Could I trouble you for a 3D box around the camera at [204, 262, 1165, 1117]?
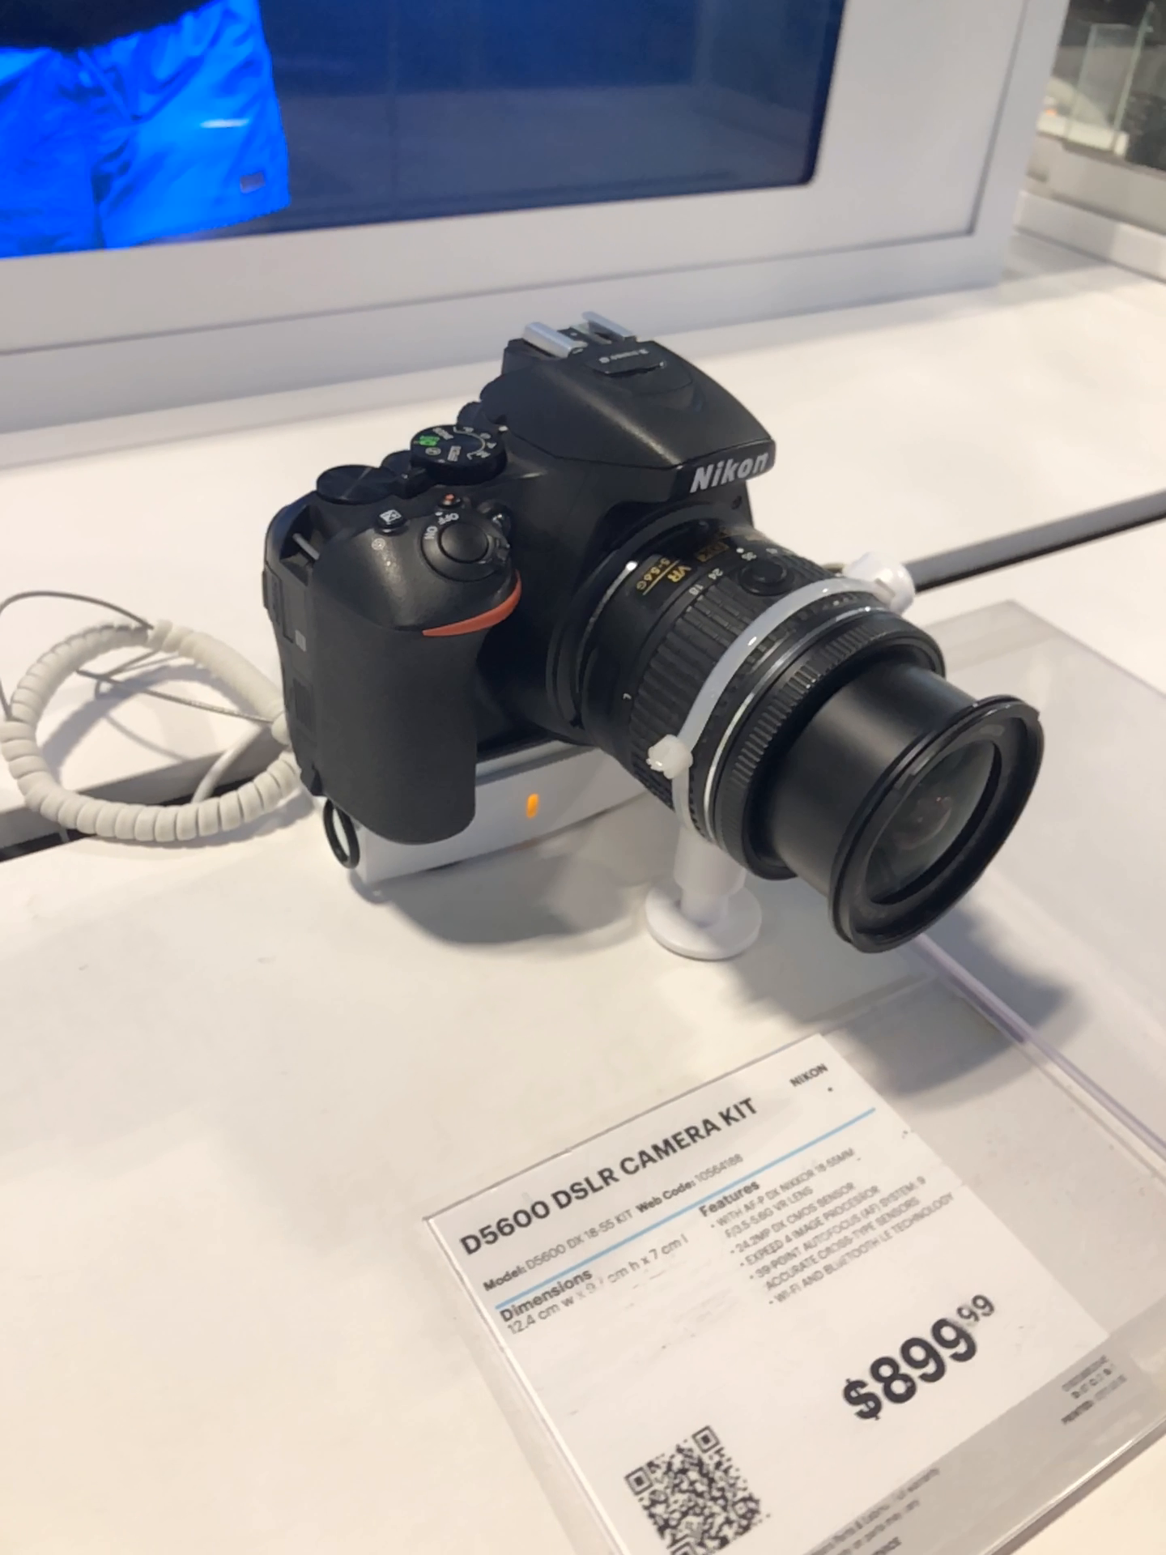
[{"bbox_3d":[0.017,-0.036,0.280,0.130,0.089,0.151,-23,45,-31],"label":"camera"}]
